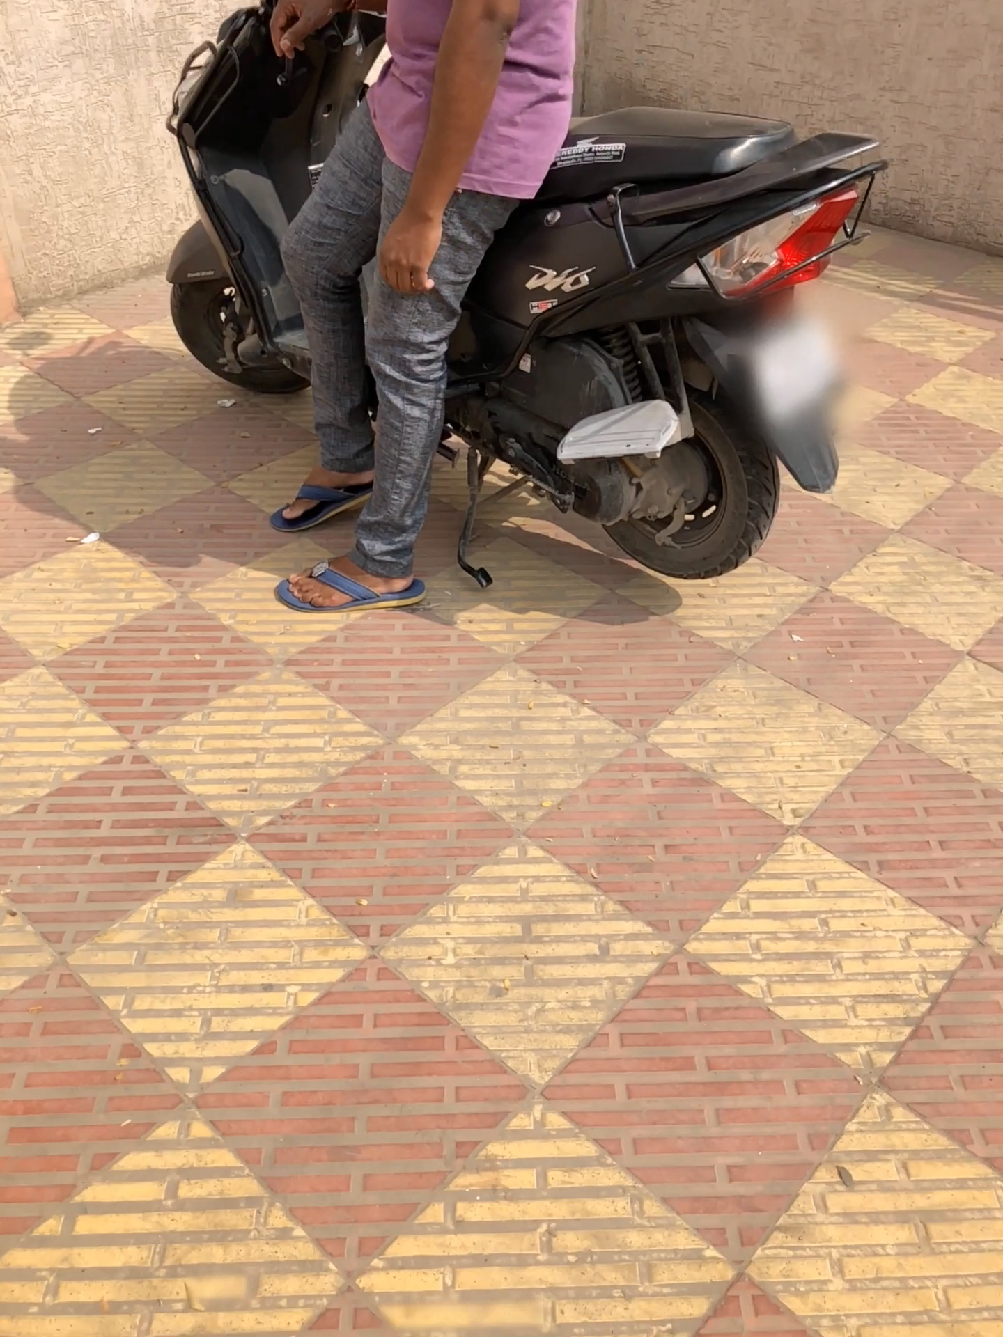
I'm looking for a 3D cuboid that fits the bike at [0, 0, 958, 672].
[{"bbox_3d":[-0.144,-0.787,2.068,1.506,0.987,0.577,25,45,28],"label":"bike"}]
